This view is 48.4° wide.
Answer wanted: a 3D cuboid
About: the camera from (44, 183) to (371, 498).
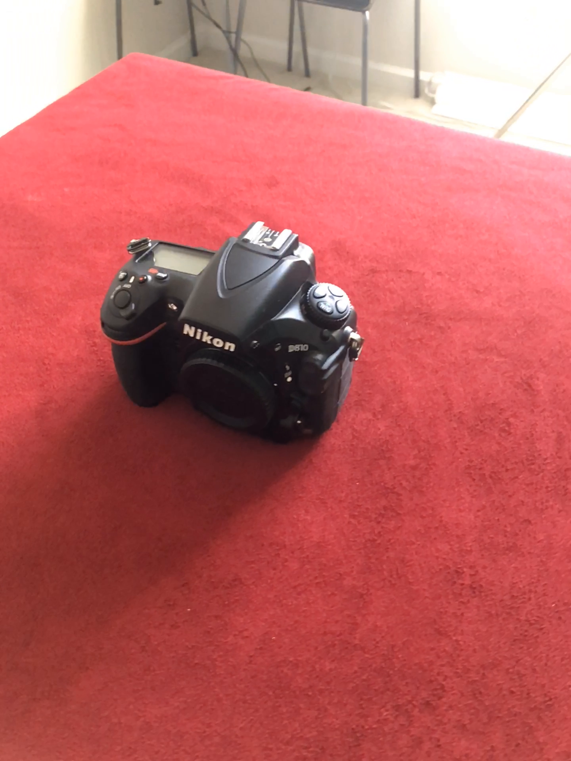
[{"bbox_3d":[-0.038,-0.022,0.375,0.146,0.129,0.083,18,52,15],"label":"camera"}]
